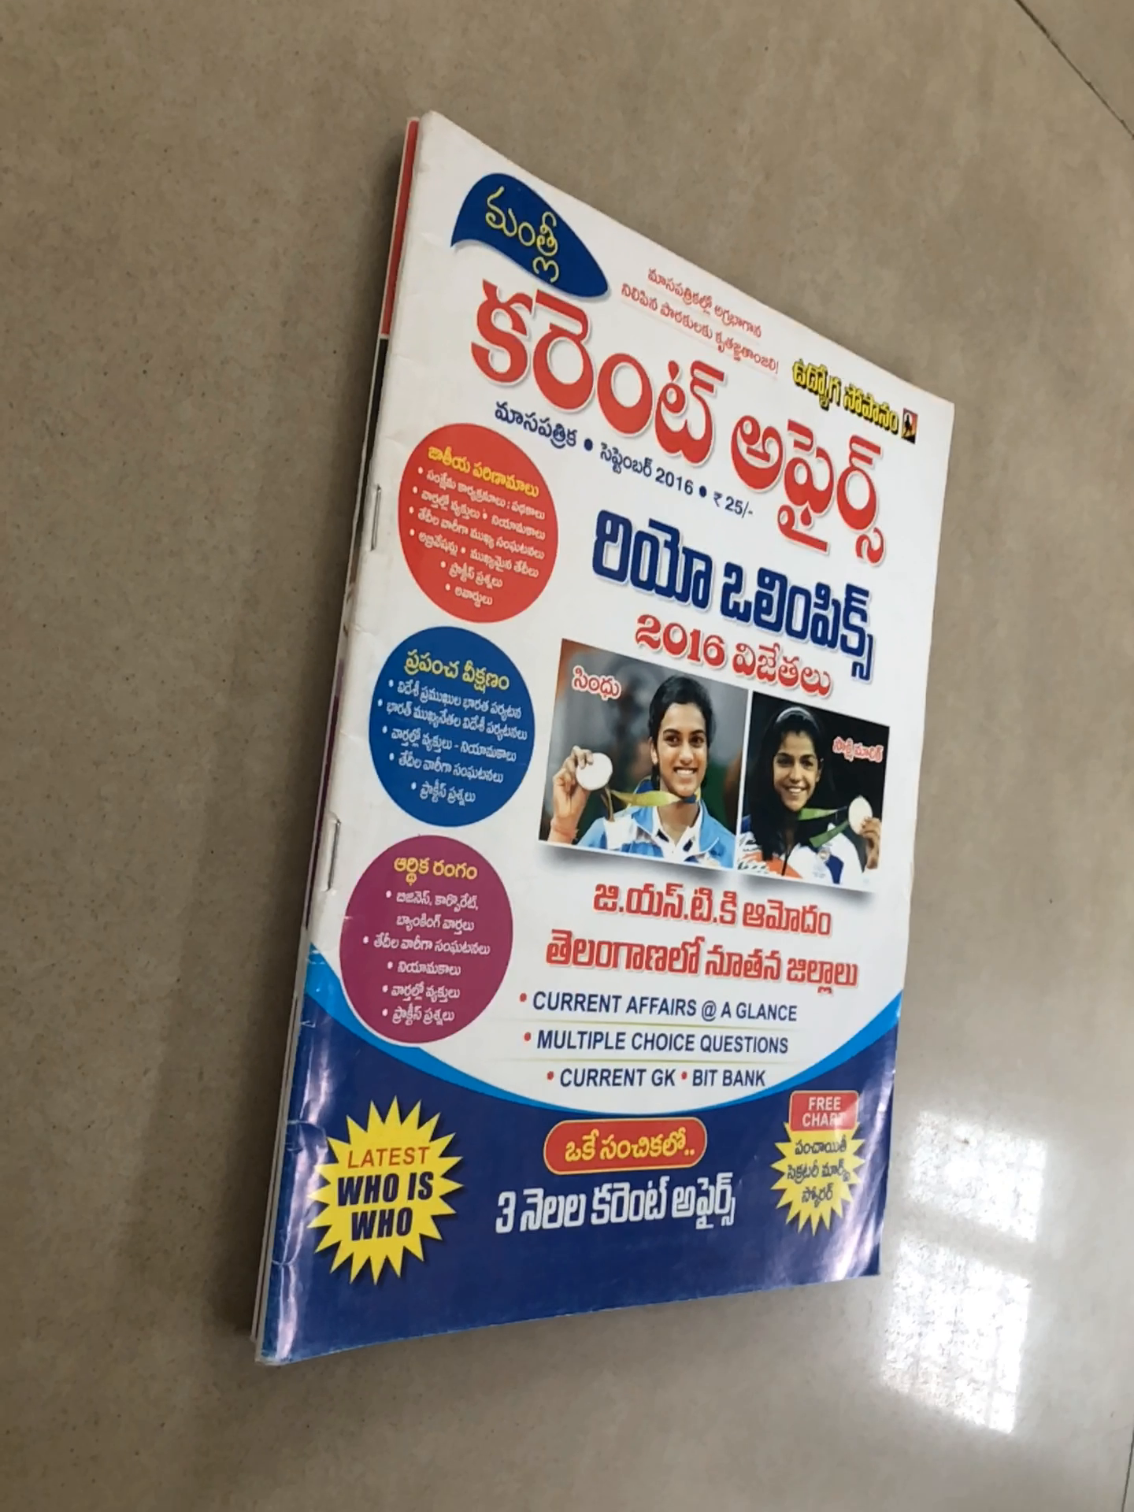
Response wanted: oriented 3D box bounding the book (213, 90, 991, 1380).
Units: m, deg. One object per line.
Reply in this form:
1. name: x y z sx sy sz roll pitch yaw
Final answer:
1. book: 0.031 0.005 0.313 0.201 0.010 0.260 13 81 -36
